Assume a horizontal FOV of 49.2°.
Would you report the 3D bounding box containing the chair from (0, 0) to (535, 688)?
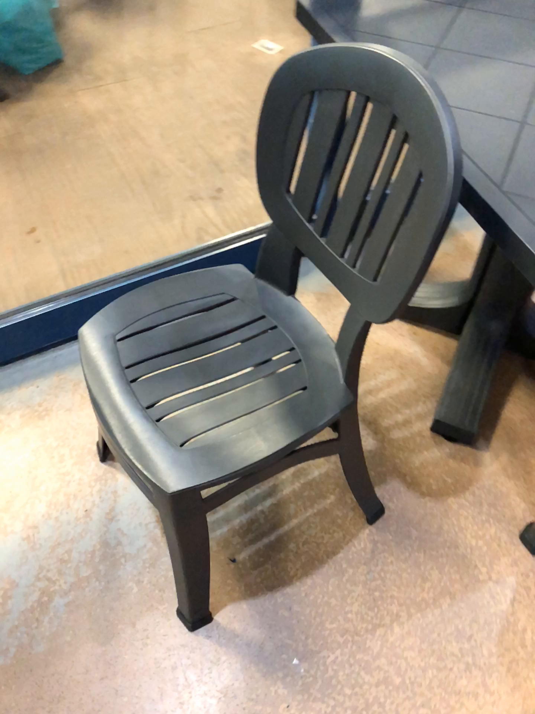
[{"bbox_3d":[-0.057,0.000,0.818,0.551,0.736,0.502,-27,57,-18],"label":"chair"}]
